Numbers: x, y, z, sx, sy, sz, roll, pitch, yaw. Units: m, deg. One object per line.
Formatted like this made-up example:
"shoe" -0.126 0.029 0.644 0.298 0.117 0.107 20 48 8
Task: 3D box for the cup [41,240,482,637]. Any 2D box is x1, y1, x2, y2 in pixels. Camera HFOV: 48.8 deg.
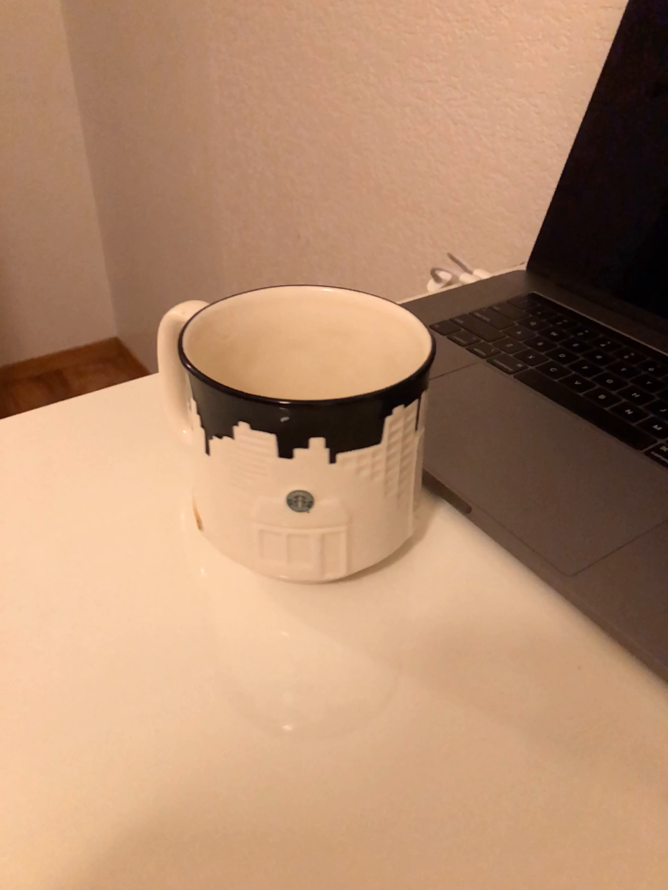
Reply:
"cup" -0.030 -0.015 0.340 0.150 0.099 0.110 22 41 28
